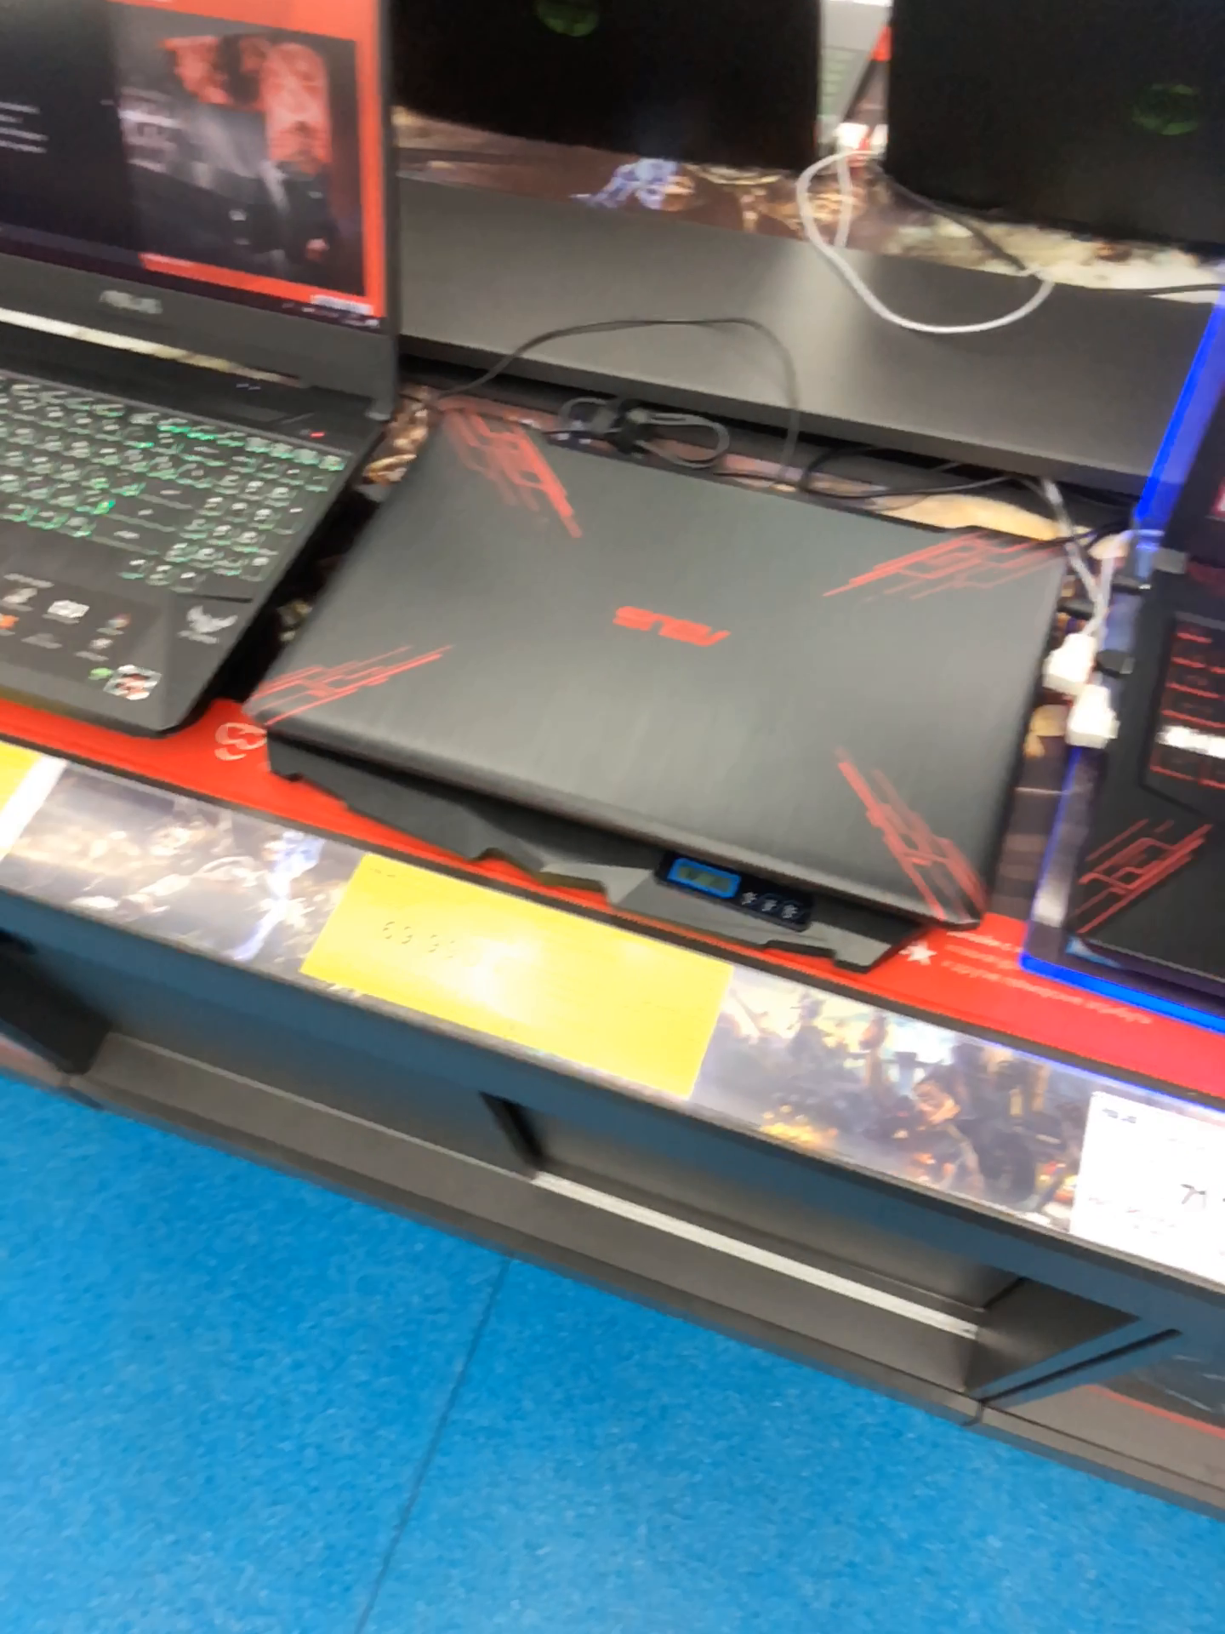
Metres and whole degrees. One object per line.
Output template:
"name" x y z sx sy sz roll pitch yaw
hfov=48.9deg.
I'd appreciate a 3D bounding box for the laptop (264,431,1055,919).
"laptop" 0.033 -0.094 0.708 0.358 0.003 0.240 16 55 13
